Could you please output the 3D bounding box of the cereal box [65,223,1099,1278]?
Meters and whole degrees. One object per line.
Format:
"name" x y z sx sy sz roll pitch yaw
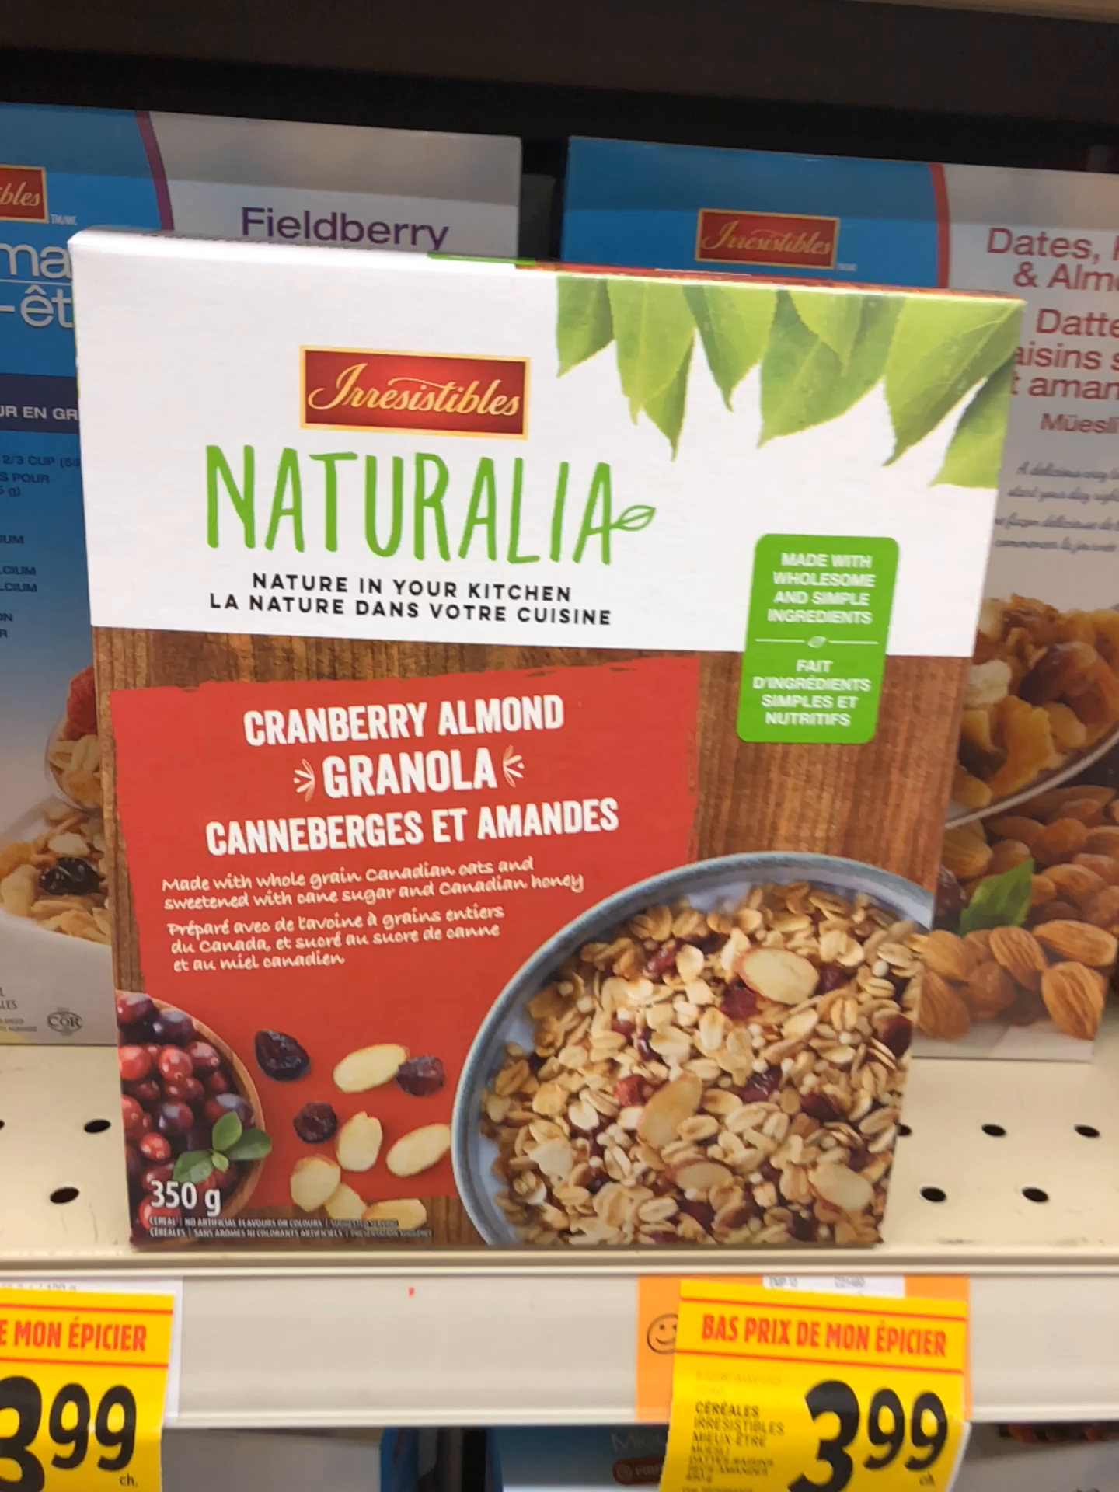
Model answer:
"cereal box" -0.001 0.008 0.267 0.170 0.209 0.060 2 19 -4
